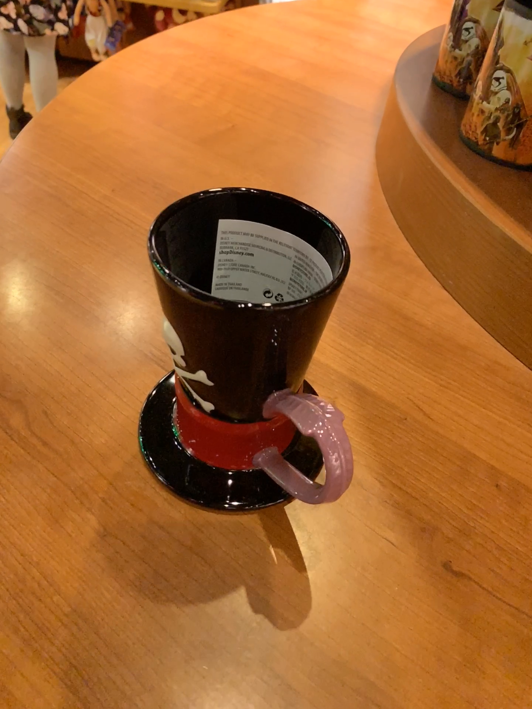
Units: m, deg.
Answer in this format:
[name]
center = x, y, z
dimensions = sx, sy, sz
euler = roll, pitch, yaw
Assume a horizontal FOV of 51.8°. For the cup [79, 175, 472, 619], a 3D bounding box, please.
[cup]
center = -0.009, 0.018, 0.275
dimensions = 0.110, 0.144, 0.135
euler = -19, 51, -23
